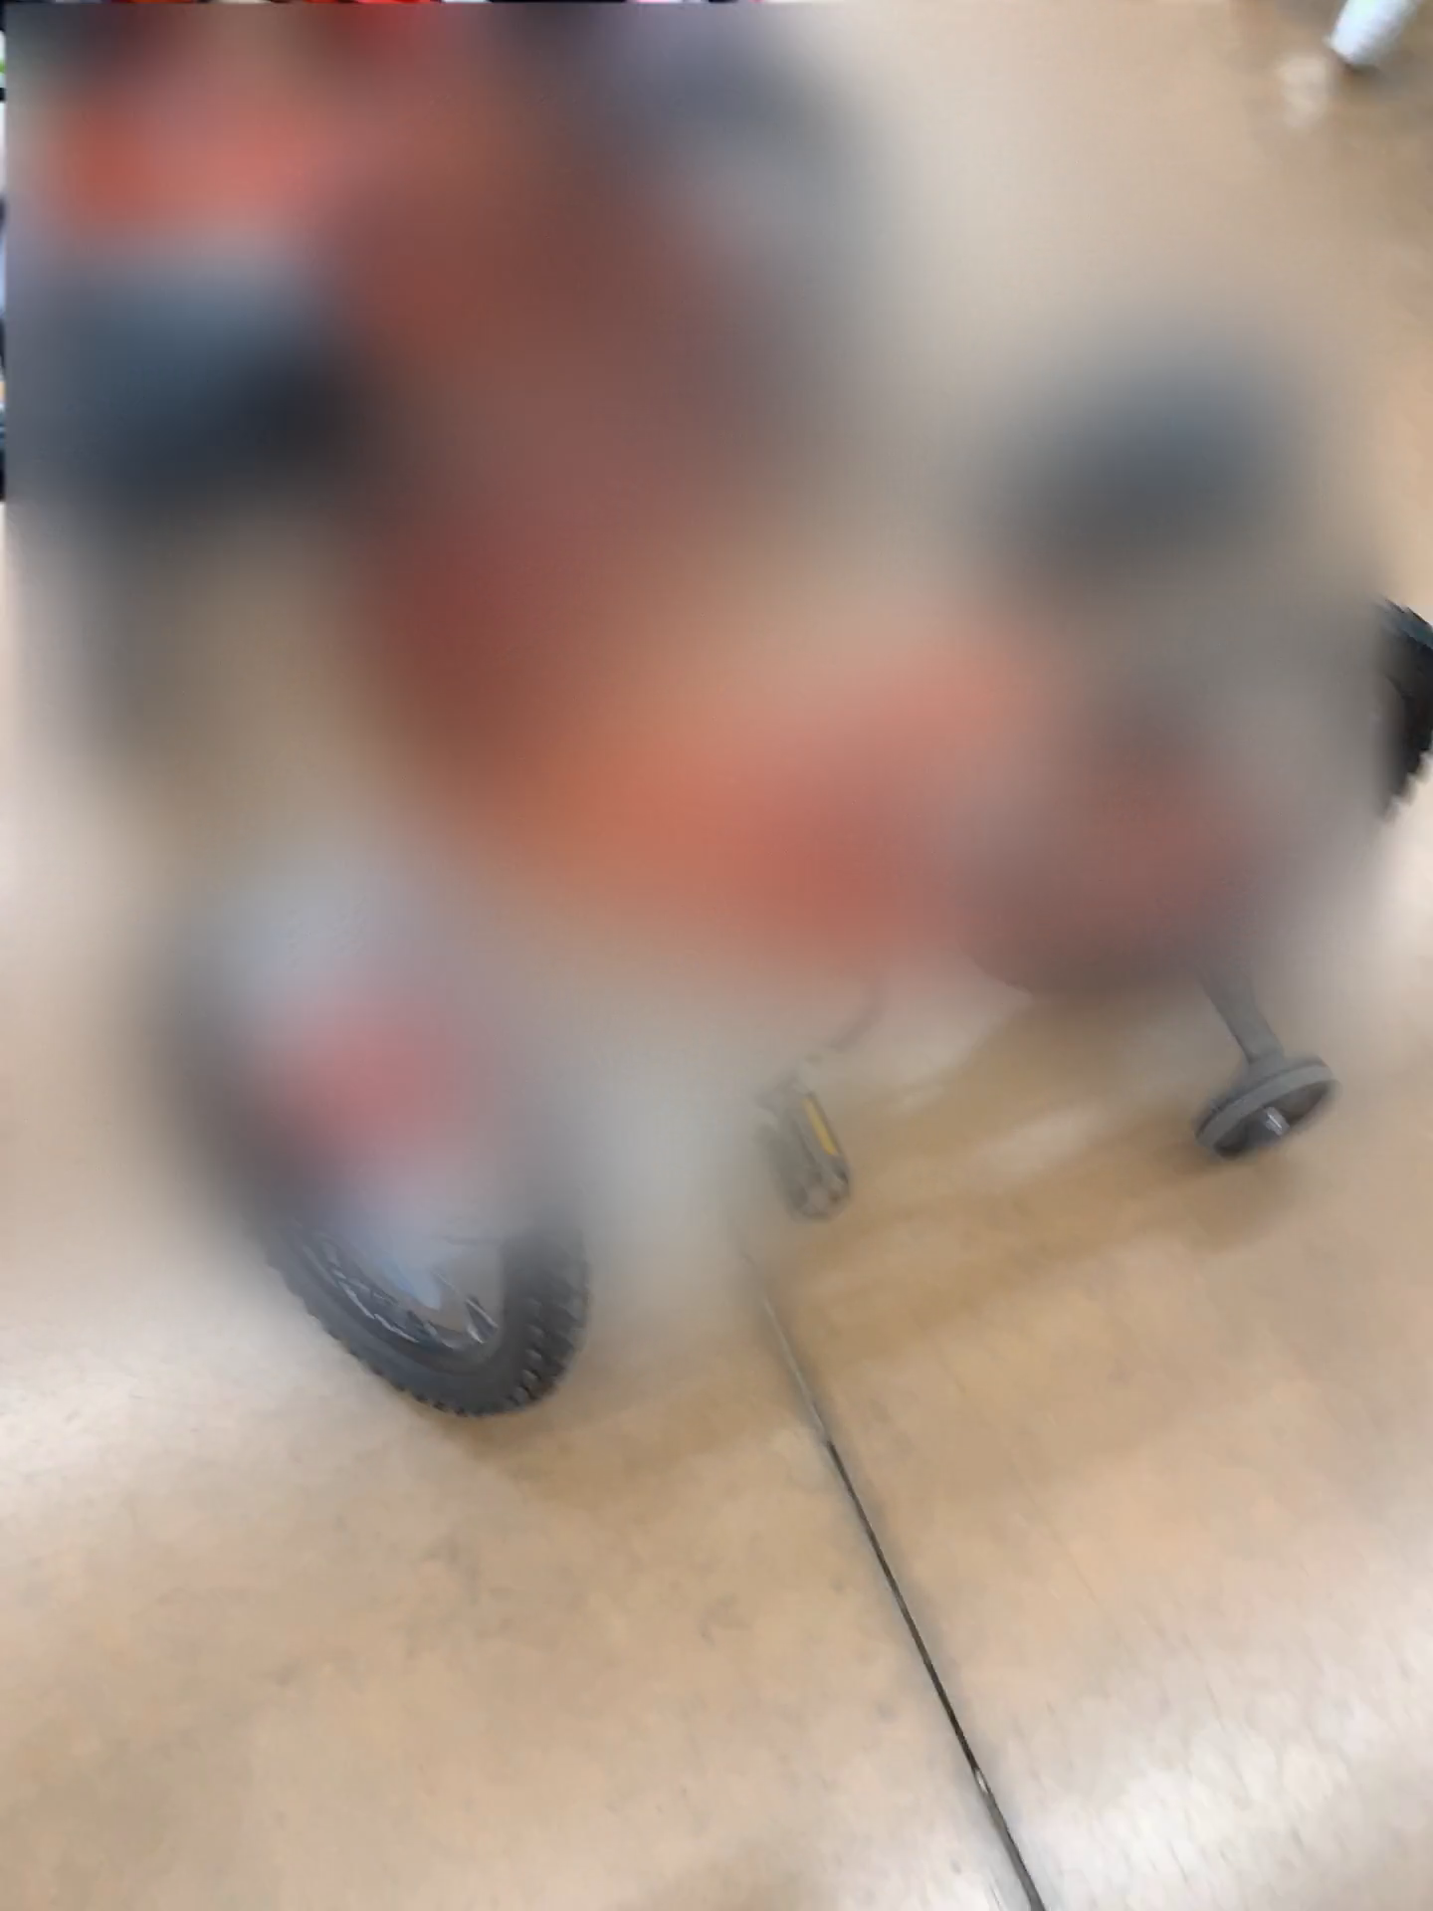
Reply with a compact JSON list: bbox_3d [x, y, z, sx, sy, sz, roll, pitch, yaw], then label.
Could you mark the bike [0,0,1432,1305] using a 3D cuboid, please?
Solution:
[{"bbox_3d":[0.020,-0.227,1.026,0.993,0.821,0.504,-16,56,-1],"label":"bike"}]
